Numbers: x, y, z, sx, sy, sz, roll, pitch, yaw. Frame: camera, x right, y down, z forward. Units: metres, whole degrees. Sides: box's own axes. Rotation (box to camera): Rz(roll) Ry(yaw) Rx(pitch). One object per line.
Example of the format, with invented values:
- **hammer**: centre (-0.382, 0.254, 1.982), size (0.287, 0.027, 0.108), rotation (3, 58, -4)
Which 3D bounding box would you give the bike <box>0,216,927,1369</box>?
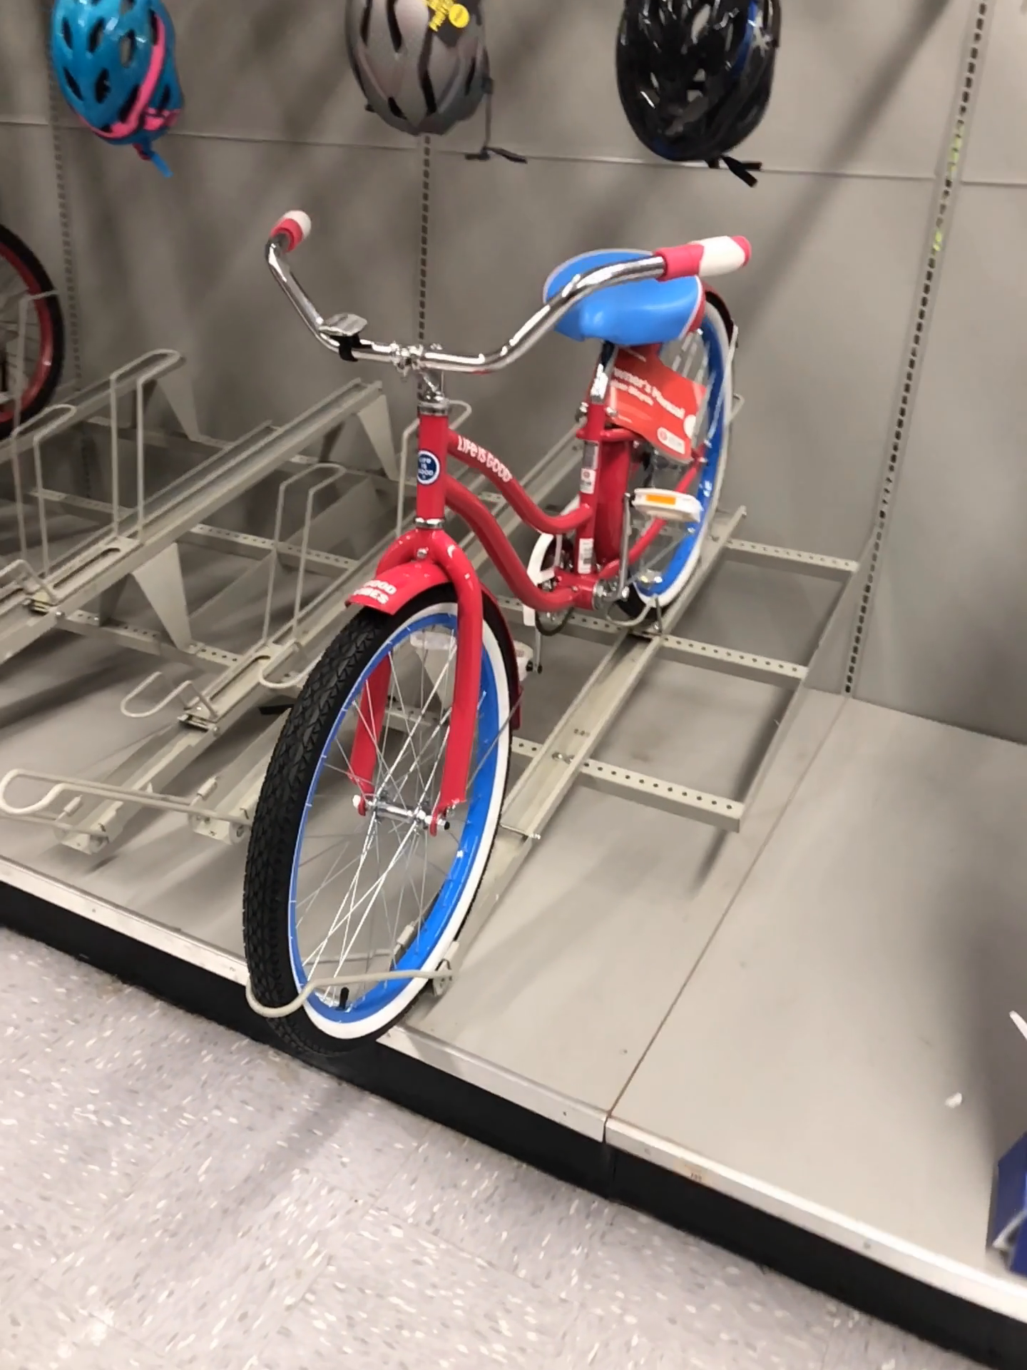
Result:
- **bike**: centre (0.023, -0.105, 1.847), size (0.811, 0.676, 1.613), rotation (14, 41, 22)
